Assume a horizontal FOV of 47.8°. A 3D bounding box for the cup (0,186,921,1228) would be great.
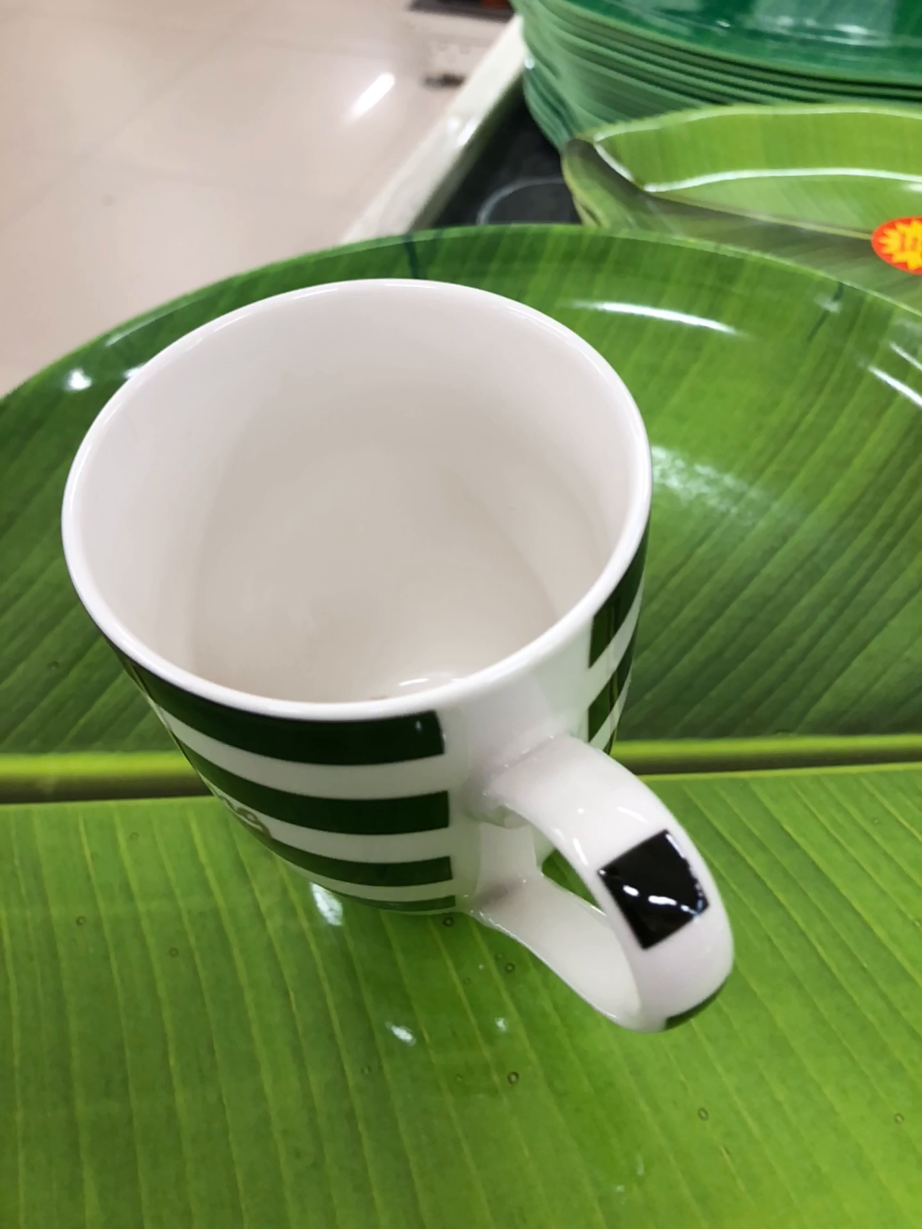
[{"bbox_3d":[-0.004,0.013,0.157,0.080,0.080,0.130,-30,56,-19],"label":"cup"}]
